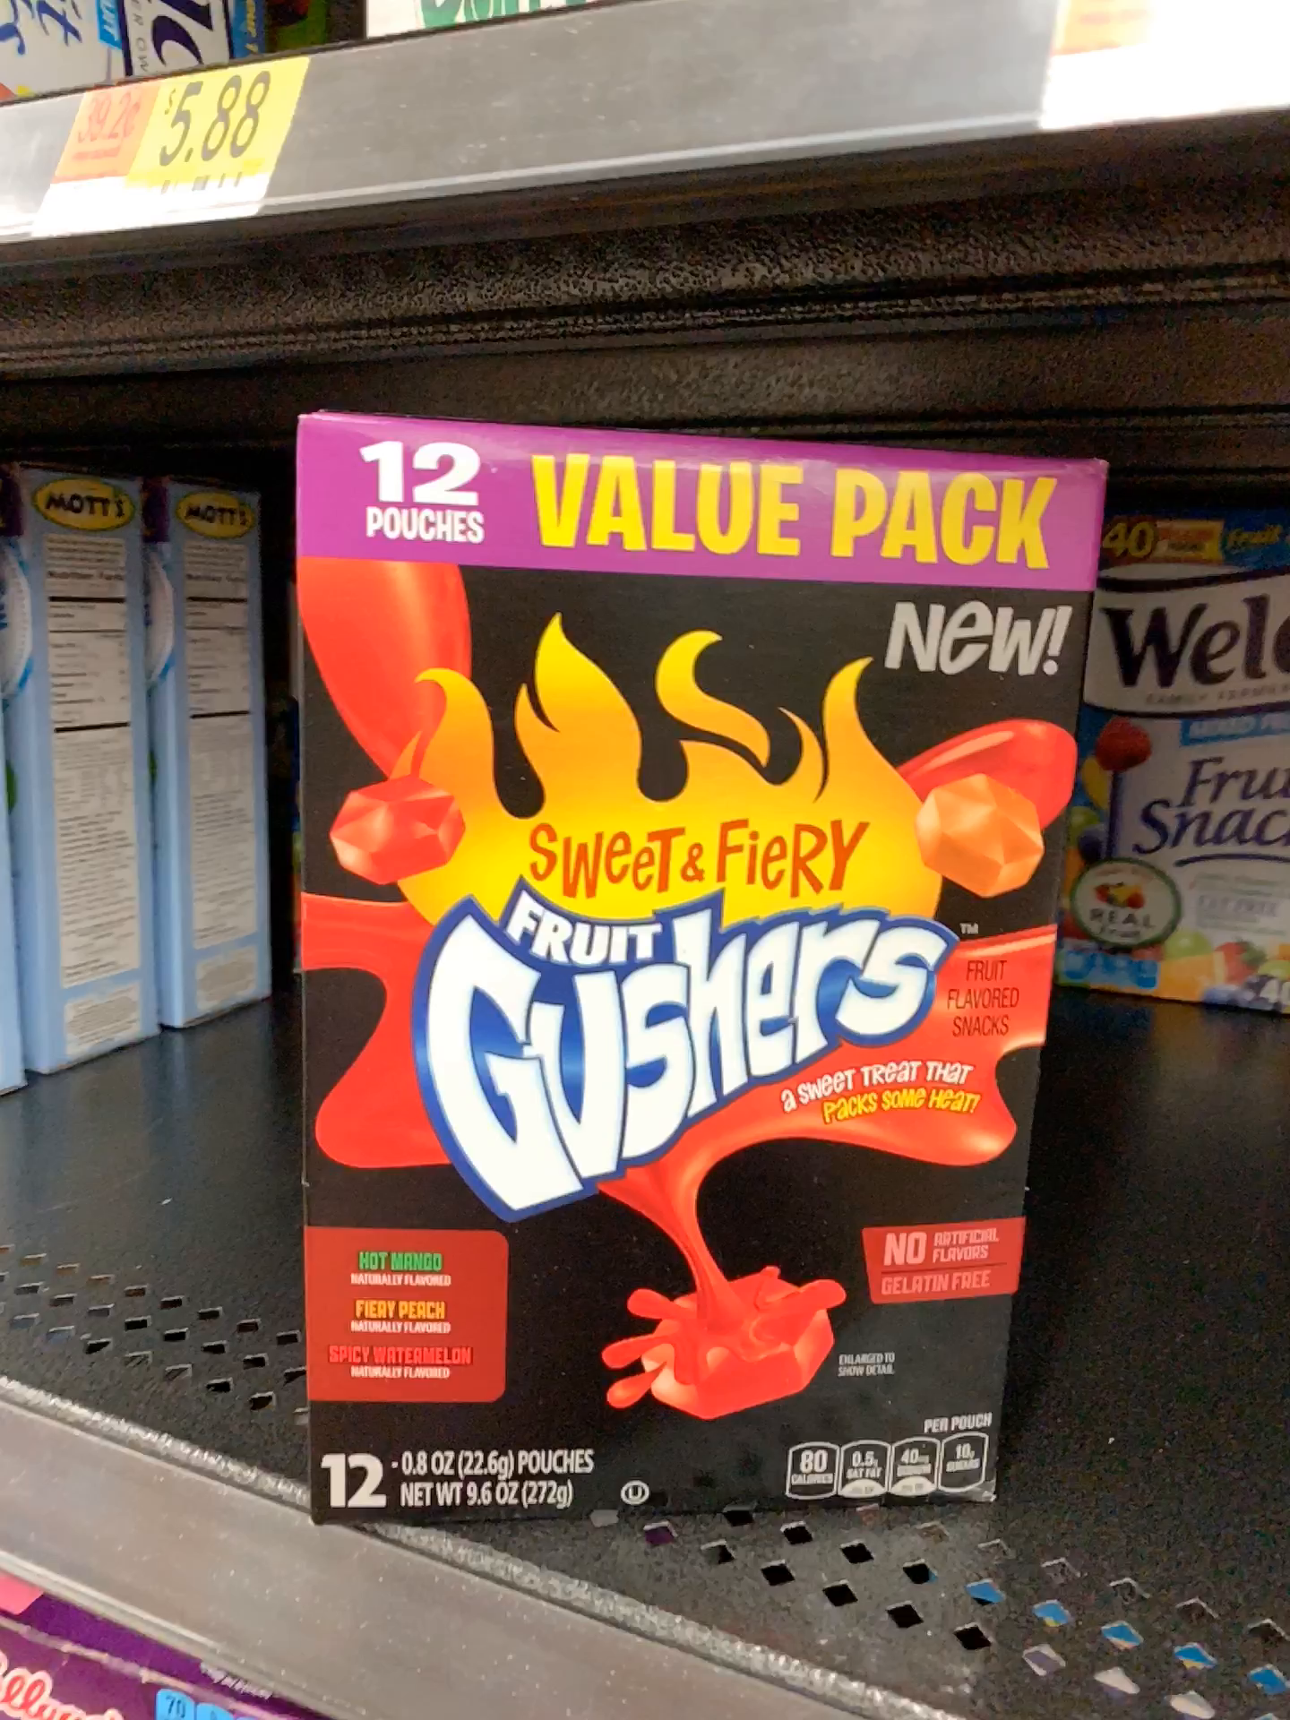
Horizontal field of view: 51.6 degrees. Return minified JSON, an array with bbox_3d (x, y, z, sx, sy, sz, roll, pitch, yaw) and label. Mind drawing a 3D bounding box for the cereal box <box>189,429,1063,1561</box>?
[{"bbox_3d":[-0.007,0.030,0.277,0.150,0.219,0.050,1,13,-6],"label":"cereal box"}]
